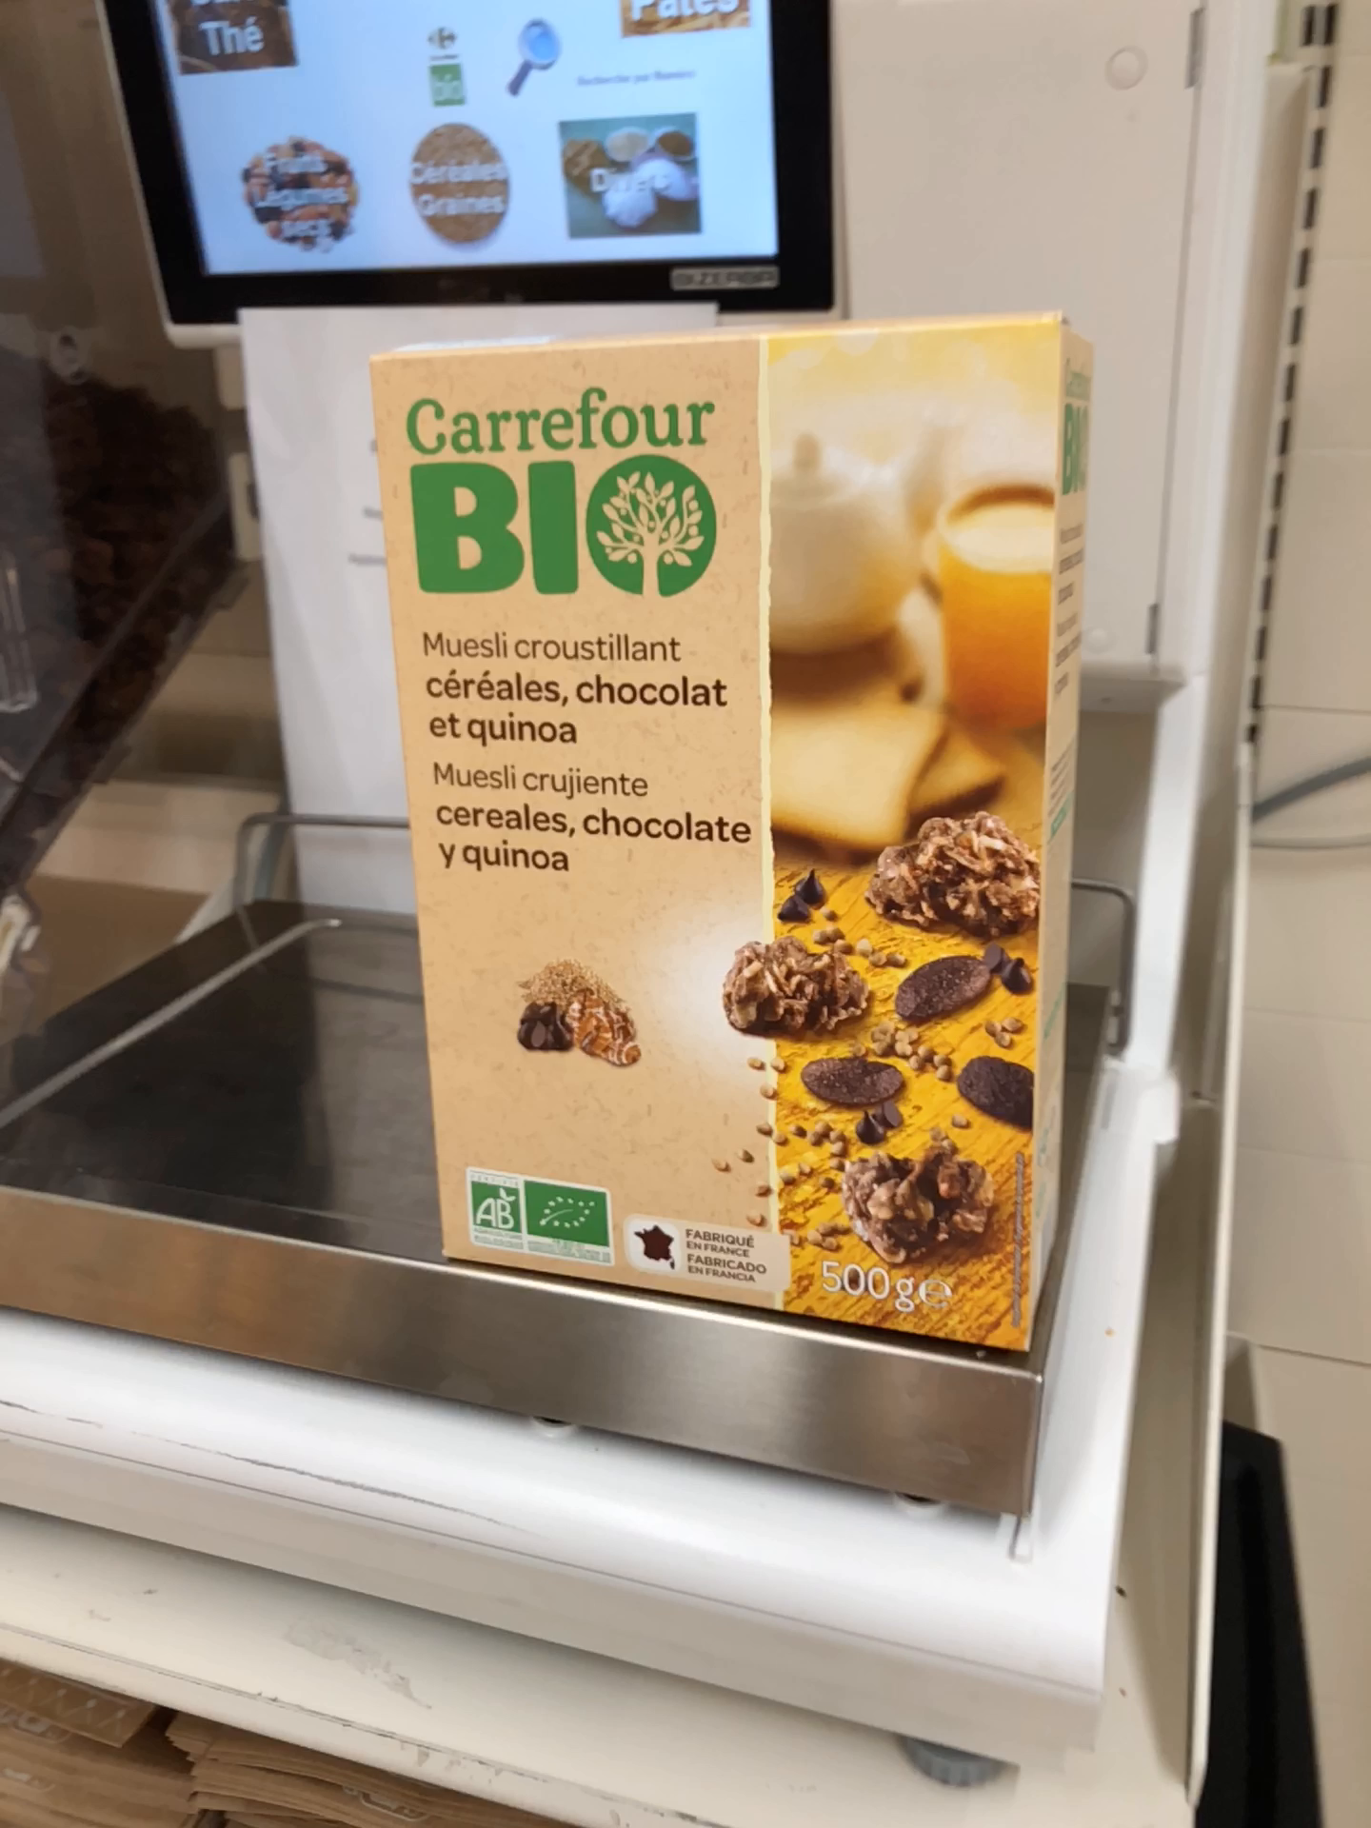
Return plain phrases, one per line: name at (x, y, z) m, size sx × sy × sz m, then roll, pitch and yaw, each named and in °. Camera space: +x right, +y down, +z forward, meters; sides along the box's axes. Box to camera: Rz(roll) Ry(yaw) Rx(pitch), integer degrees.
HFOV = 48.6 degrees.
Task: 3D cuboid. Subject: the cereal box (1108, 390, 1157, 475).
cereal box at (5.552, -5.981, 18.863) m, size 0.460 × 0.975 × 0.533 m, roll 7°, pitch 21°, yaw 19°
